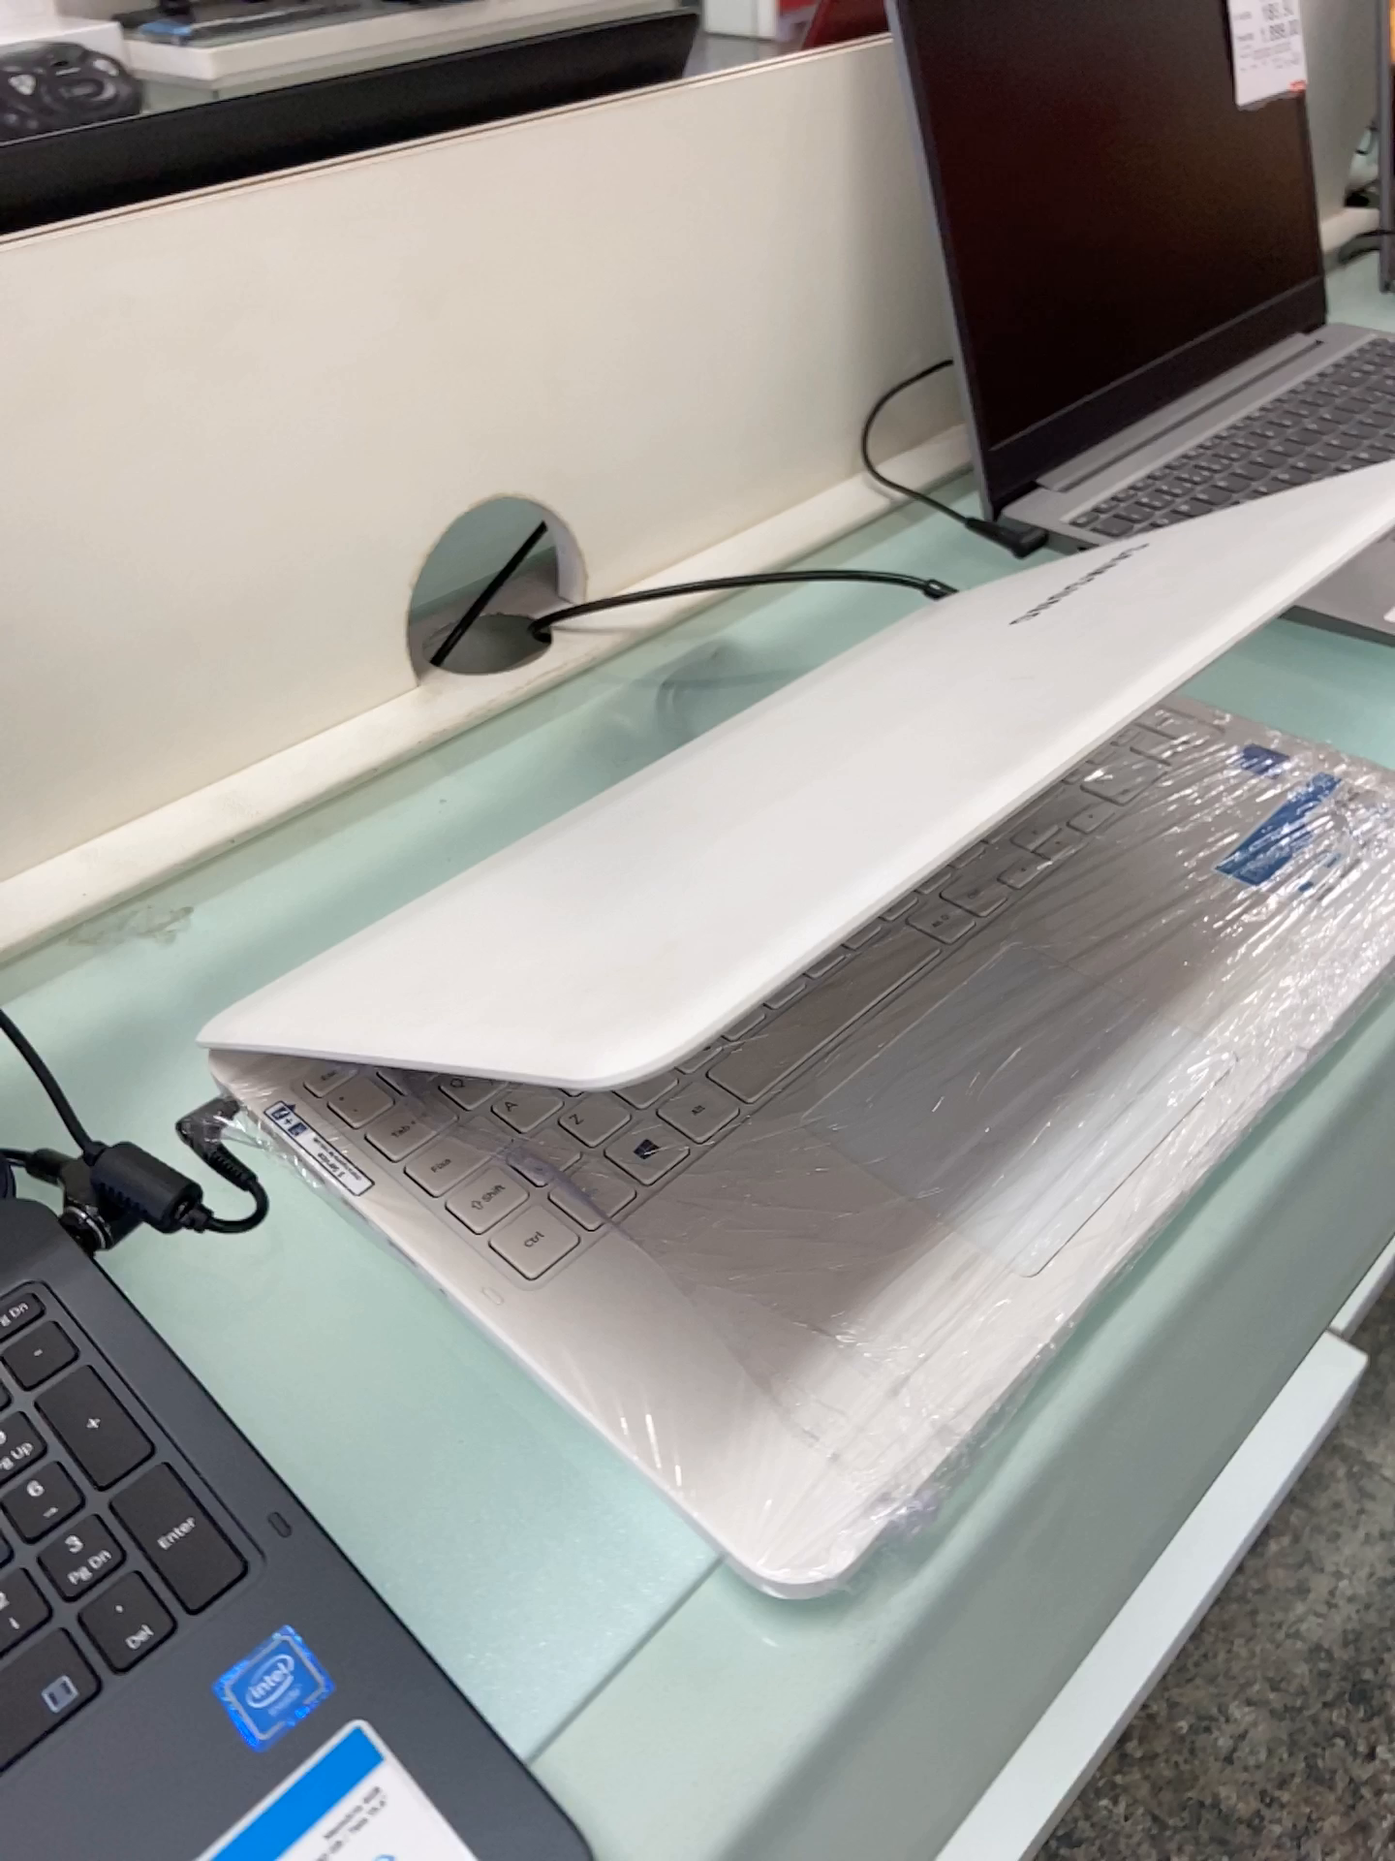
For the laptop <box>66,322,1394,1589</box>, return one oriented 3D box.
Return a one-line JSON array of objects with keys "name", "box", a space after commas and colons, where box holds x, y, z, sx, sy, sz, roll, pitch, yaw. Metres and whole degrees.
[{"name": "laptop", "box": [0.060, -0.052, 0.434, 0.247, 0.129, 0.374, 29, 48, 34]}]
